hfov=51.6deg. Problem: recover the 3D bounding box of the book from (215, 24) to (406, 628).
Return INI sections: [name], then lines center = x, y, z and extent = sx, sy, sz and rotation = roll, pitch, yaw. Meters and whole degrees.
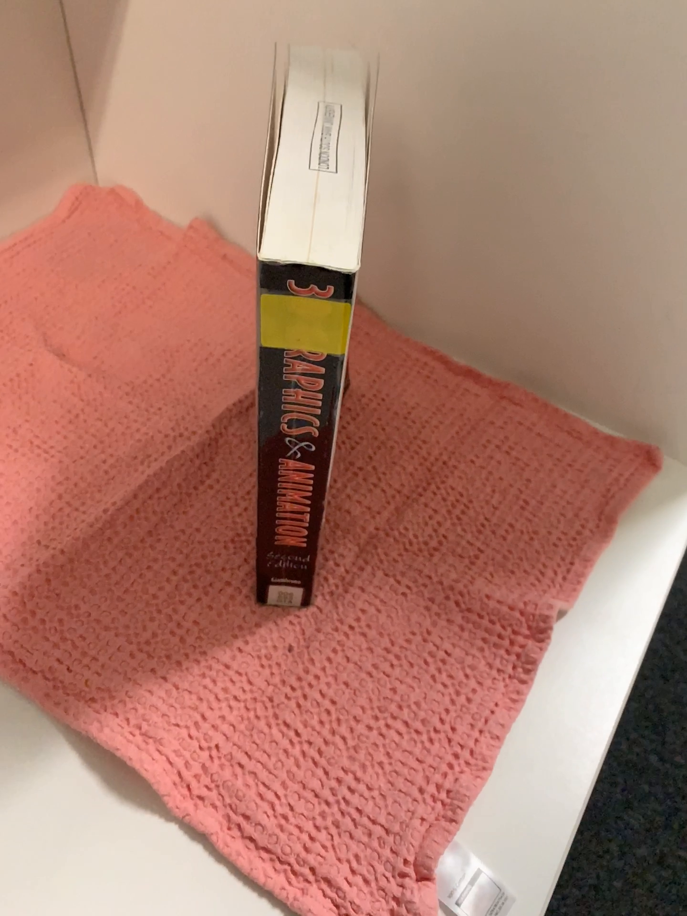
[book]
center = -0.023, -0.064, 0.382
extent = 0.060, 0.228, 0.222
rotation = 3, 49, -5
